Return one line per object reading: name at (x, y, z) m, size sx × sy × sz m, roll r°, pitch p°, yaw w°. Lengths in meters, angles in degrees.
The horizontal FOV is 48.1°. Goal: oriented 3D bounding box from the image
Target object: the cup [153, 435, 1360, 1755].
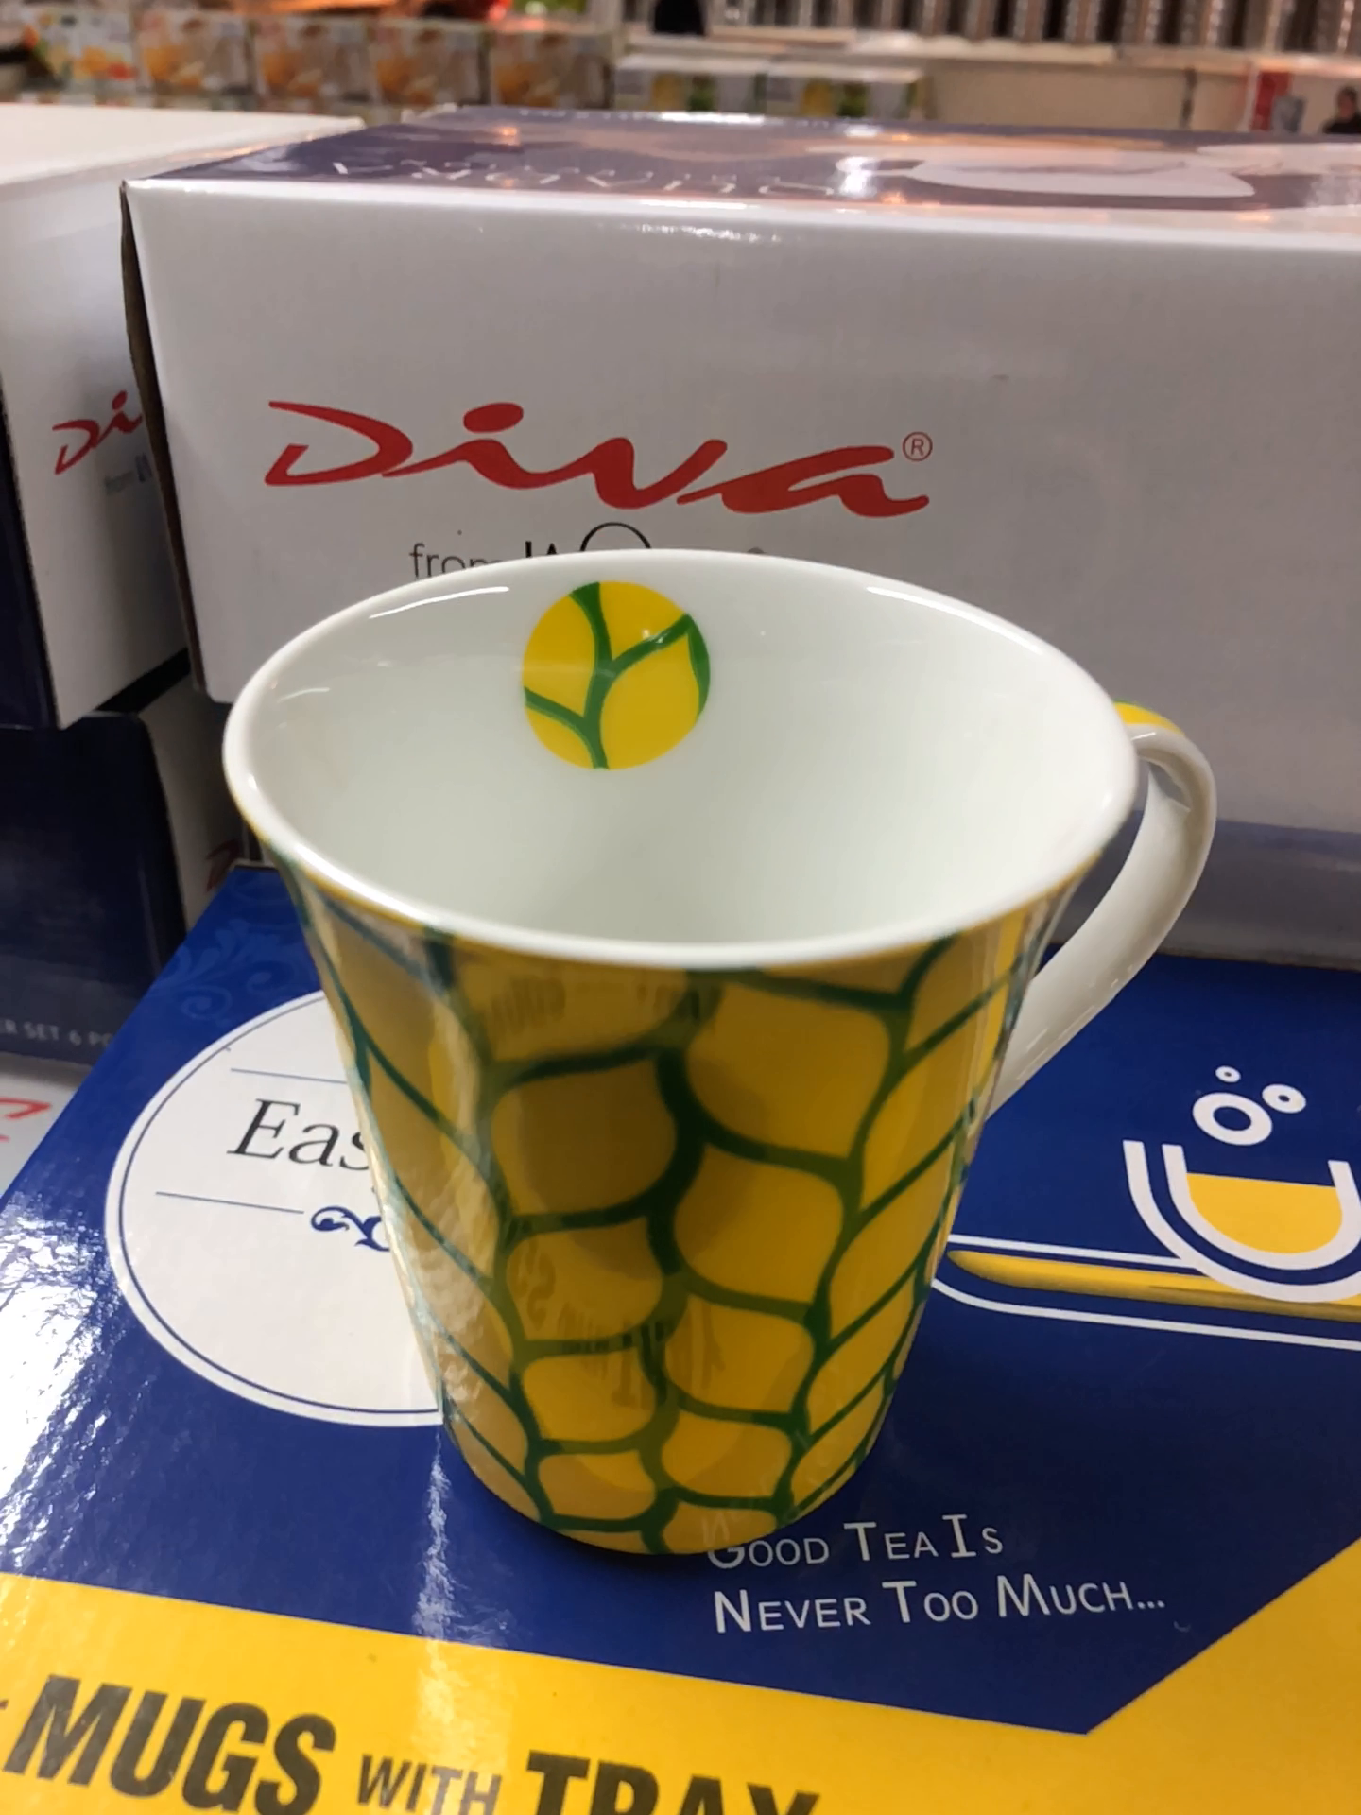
cup at (0.014, 0.009, 0.174) m, size 0.110 × 0.089 × 0.080 m, roll -18°, pitch 38°, yaw -27°
